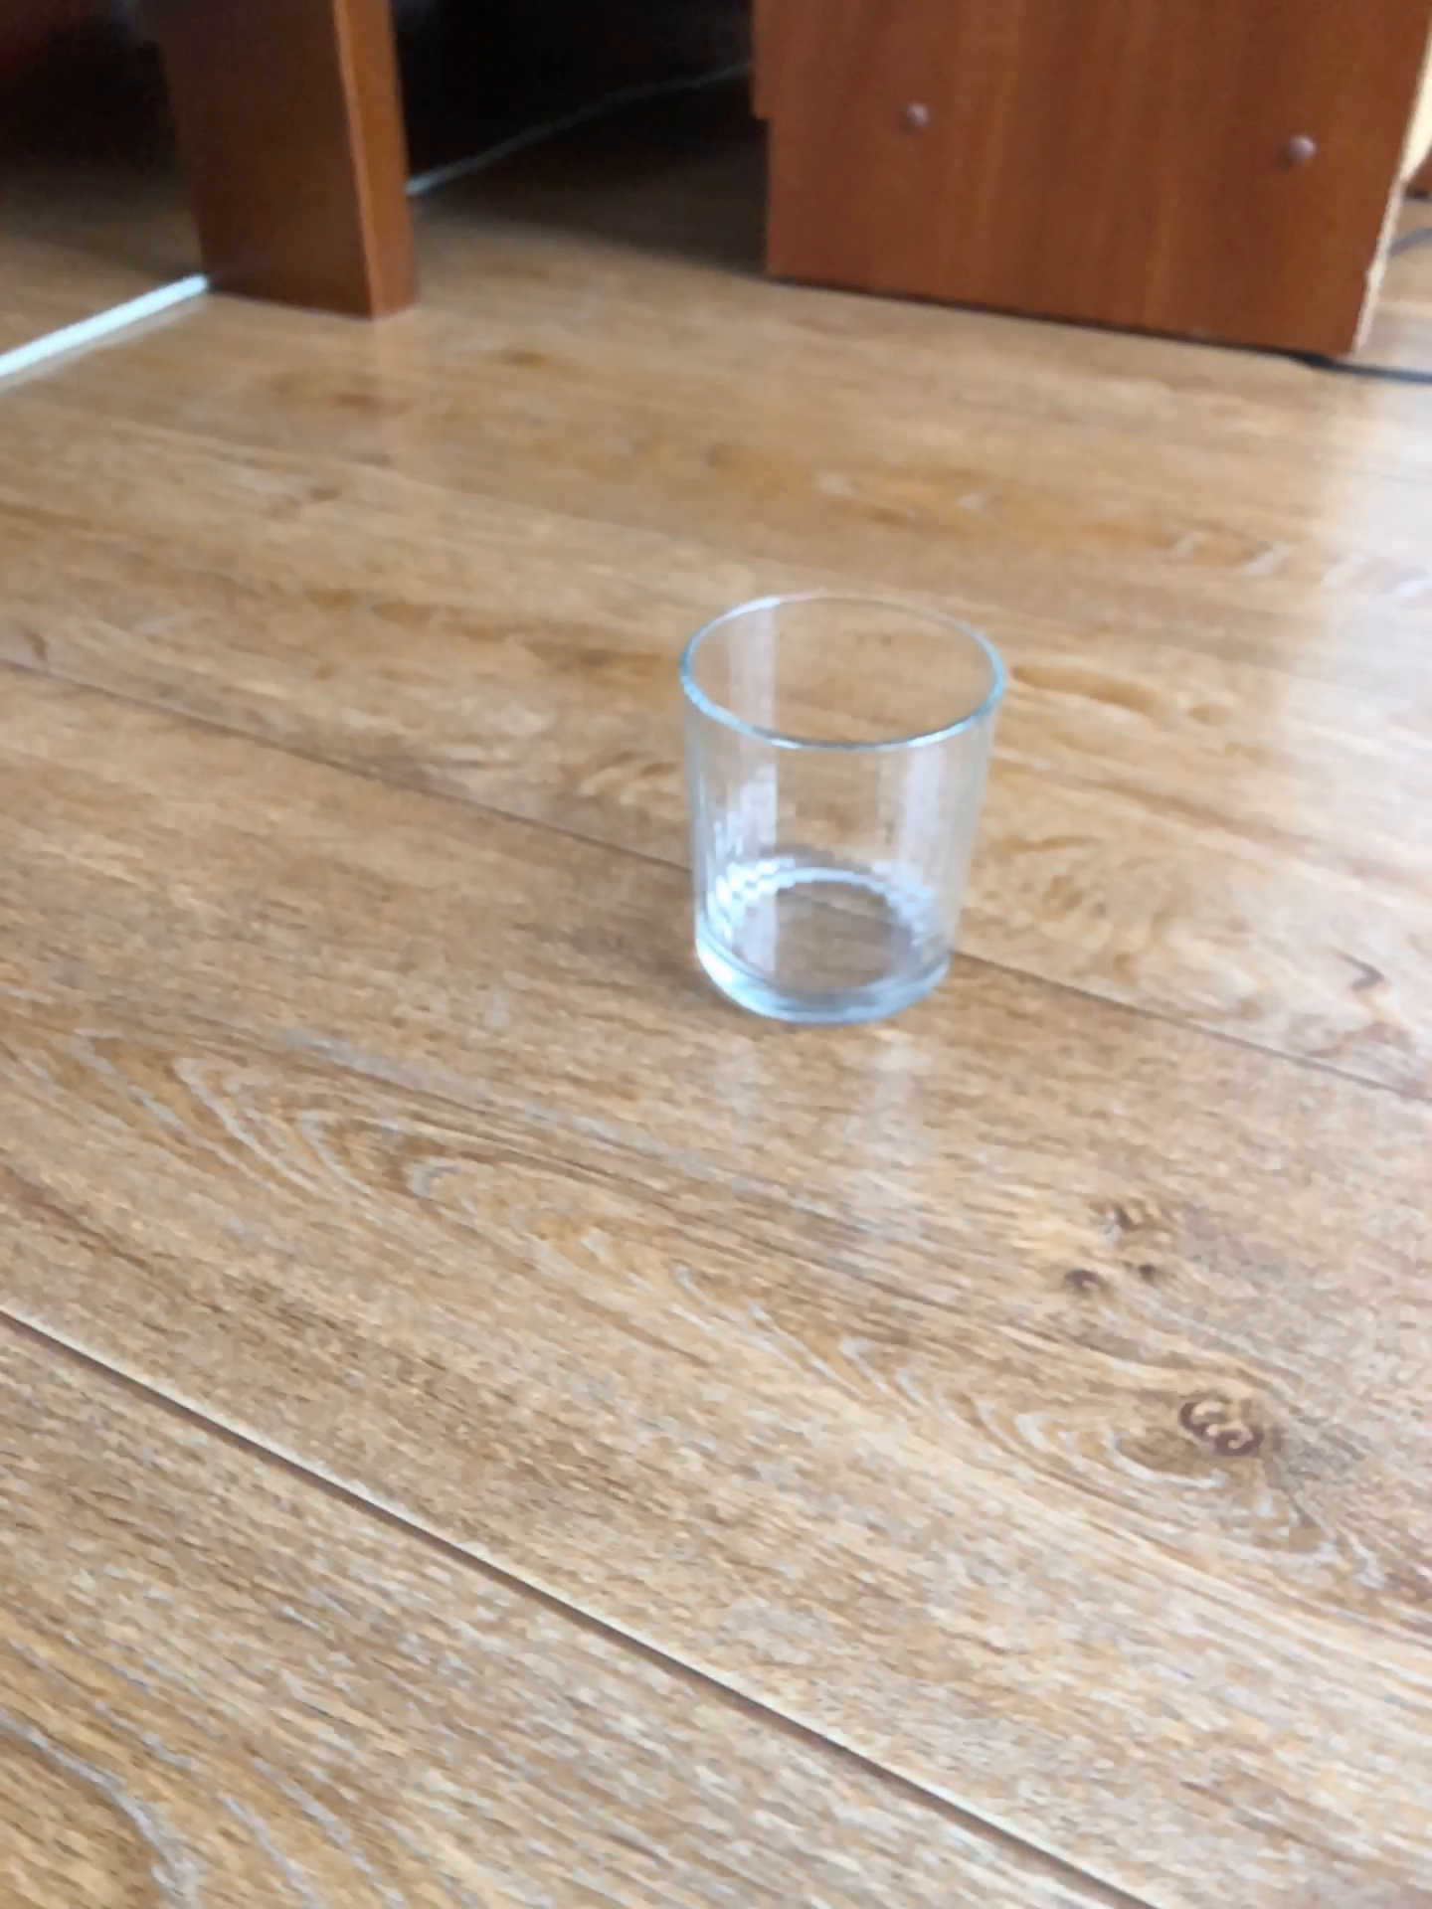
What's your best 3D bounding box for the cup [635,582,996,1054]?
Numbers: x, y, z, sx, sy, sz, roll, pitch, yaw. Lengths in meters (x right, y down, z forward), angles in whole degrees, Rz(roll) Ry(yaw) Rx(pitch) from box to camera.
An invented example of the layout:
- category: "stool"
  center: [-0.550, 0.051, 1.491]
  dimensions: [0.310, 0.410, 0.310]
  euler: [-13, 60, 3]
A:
- category: "cup"
  center: [0.025, -0.035, 0.386]
  dimensions: [0.075, 0.079, 0.078]
  euler: [0, 37, 0]
